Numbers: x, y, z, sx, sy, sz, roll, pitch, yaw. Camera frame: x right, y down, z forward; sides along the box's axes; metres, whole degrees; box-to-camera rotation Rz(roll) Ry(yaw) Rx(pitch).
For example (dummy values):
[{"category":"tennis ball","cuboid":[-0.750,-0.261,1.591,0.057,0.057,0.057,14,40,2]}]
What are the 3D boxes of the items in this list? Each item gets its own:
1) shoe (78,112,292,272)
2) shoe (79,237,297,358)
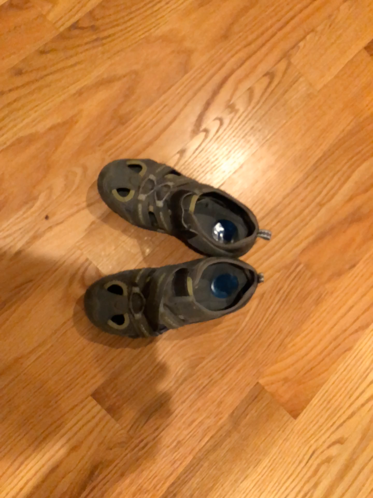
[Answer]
[{"category":"shoe","cuboid":[-0.007,-0.064,0.557,0.245,0.113,0.100,22,78,-9]},{"category":"shoe","cuboid":[-0.004,0.059,0.537,0.245,0.113,0.100,-8,84,-14]}]
